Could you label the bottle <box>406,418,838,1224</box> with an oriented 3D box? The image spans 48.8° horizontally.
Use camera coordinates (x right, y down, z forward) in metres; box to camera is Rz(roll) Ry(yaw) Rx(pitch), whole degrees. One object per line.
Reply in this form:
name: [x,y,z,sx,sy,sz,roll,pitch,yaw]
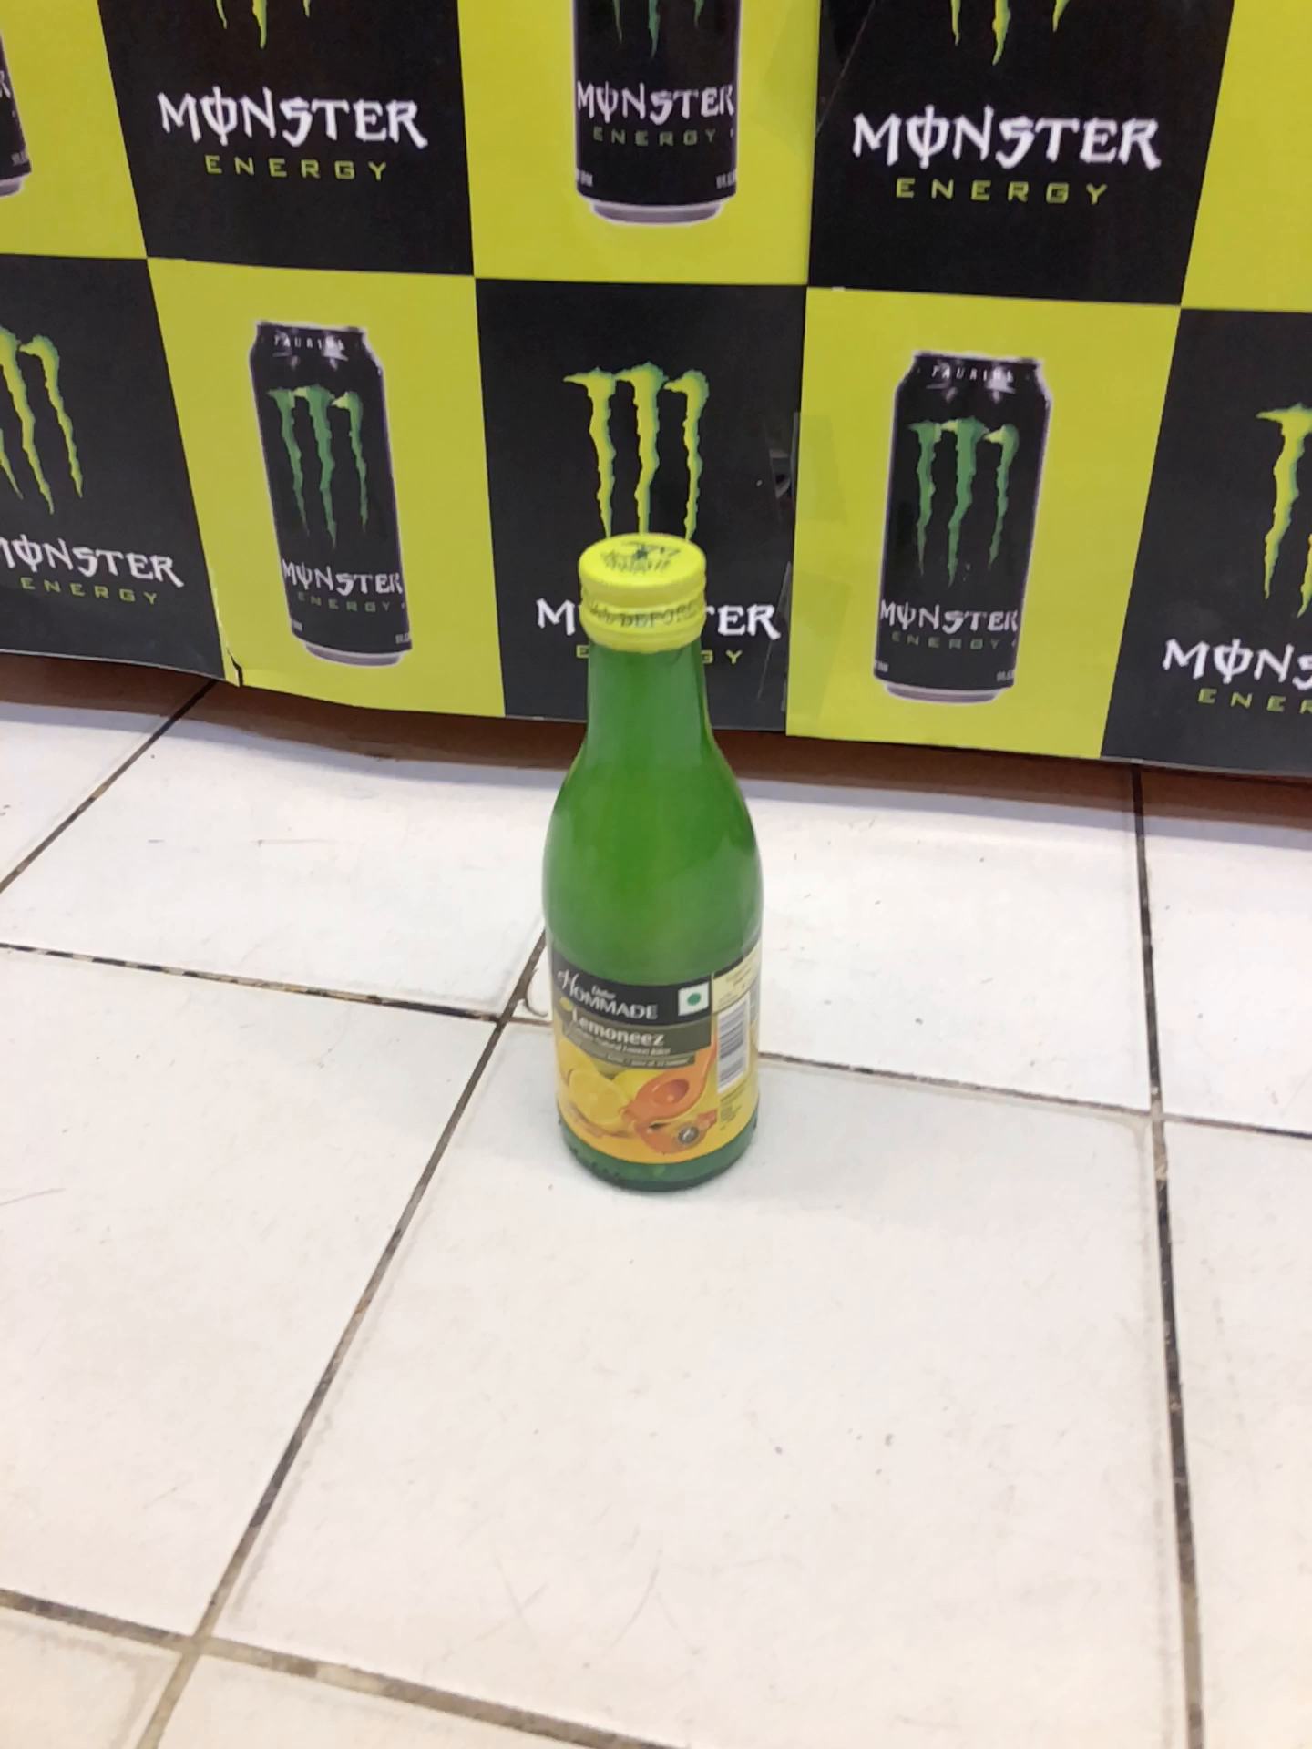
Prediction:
bottle: [-0.004,-0.010,0.360,0.070,0.179,0.070,-1,34,1]
